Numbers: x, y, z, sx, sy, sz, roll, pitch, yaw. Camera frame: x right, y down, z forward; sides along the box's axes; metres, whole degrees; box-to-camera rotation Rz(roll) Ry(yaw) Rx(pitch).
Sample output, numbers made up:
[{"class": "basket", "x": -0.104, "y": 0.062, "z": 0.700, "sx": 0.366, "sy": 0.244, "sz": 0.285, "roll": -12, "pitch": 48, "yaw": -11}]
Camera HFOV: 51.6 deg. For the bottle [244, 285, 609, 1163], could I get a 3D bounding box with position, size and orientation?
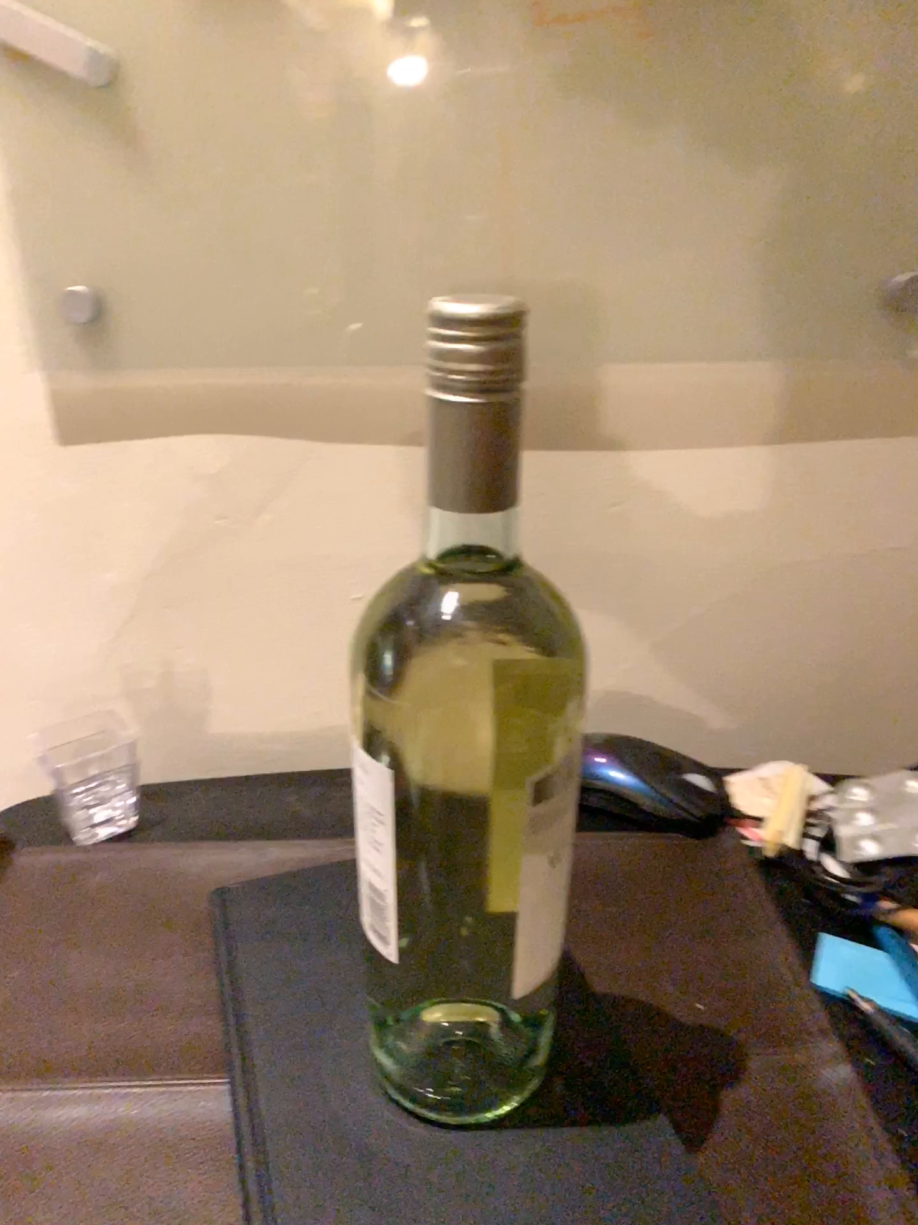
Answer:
[{"class": "bottle", "x": -0.009, "y": 0.047, "z": 0.336, "sx": 0.090, "sy": 0.298, "sz": 0.091, "roll": -1, "pitch": 24, "yaw": 0}]
